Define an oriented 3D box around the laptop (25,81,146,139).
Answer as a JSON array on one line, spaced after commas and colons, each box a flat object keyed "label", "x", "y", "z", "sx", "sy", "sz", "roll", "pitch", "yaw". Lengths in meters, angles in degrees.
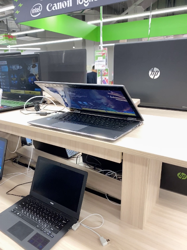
[{"label": "laptop", "x": -0.025, "y": -0.073, "z": 0.625, "sx": 0.321, "sy": 0.128, "sz": 0.217, "roll": 9, "pitch": 17, "yaw": 32}]
